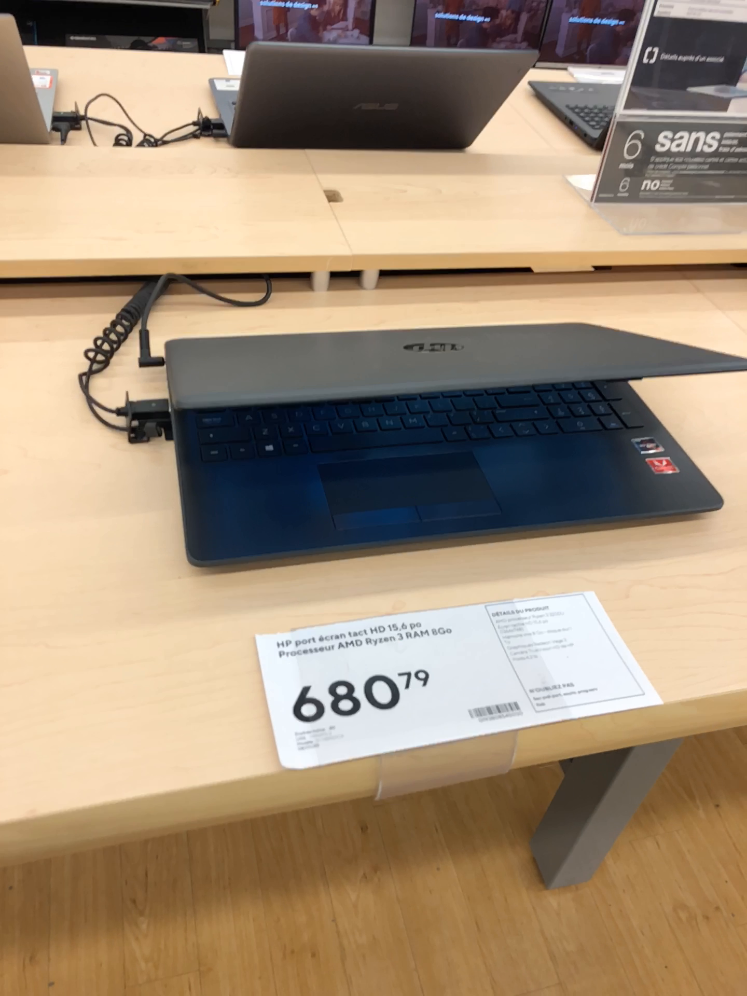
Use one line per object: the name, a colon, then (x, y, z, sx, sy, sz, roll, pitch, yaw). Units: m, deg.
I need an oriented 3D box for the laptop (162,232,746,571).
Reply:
laptop: (0.047, -0.091, 0.575, 0.366, 0.090, 0.243, -6, 43, -16)
